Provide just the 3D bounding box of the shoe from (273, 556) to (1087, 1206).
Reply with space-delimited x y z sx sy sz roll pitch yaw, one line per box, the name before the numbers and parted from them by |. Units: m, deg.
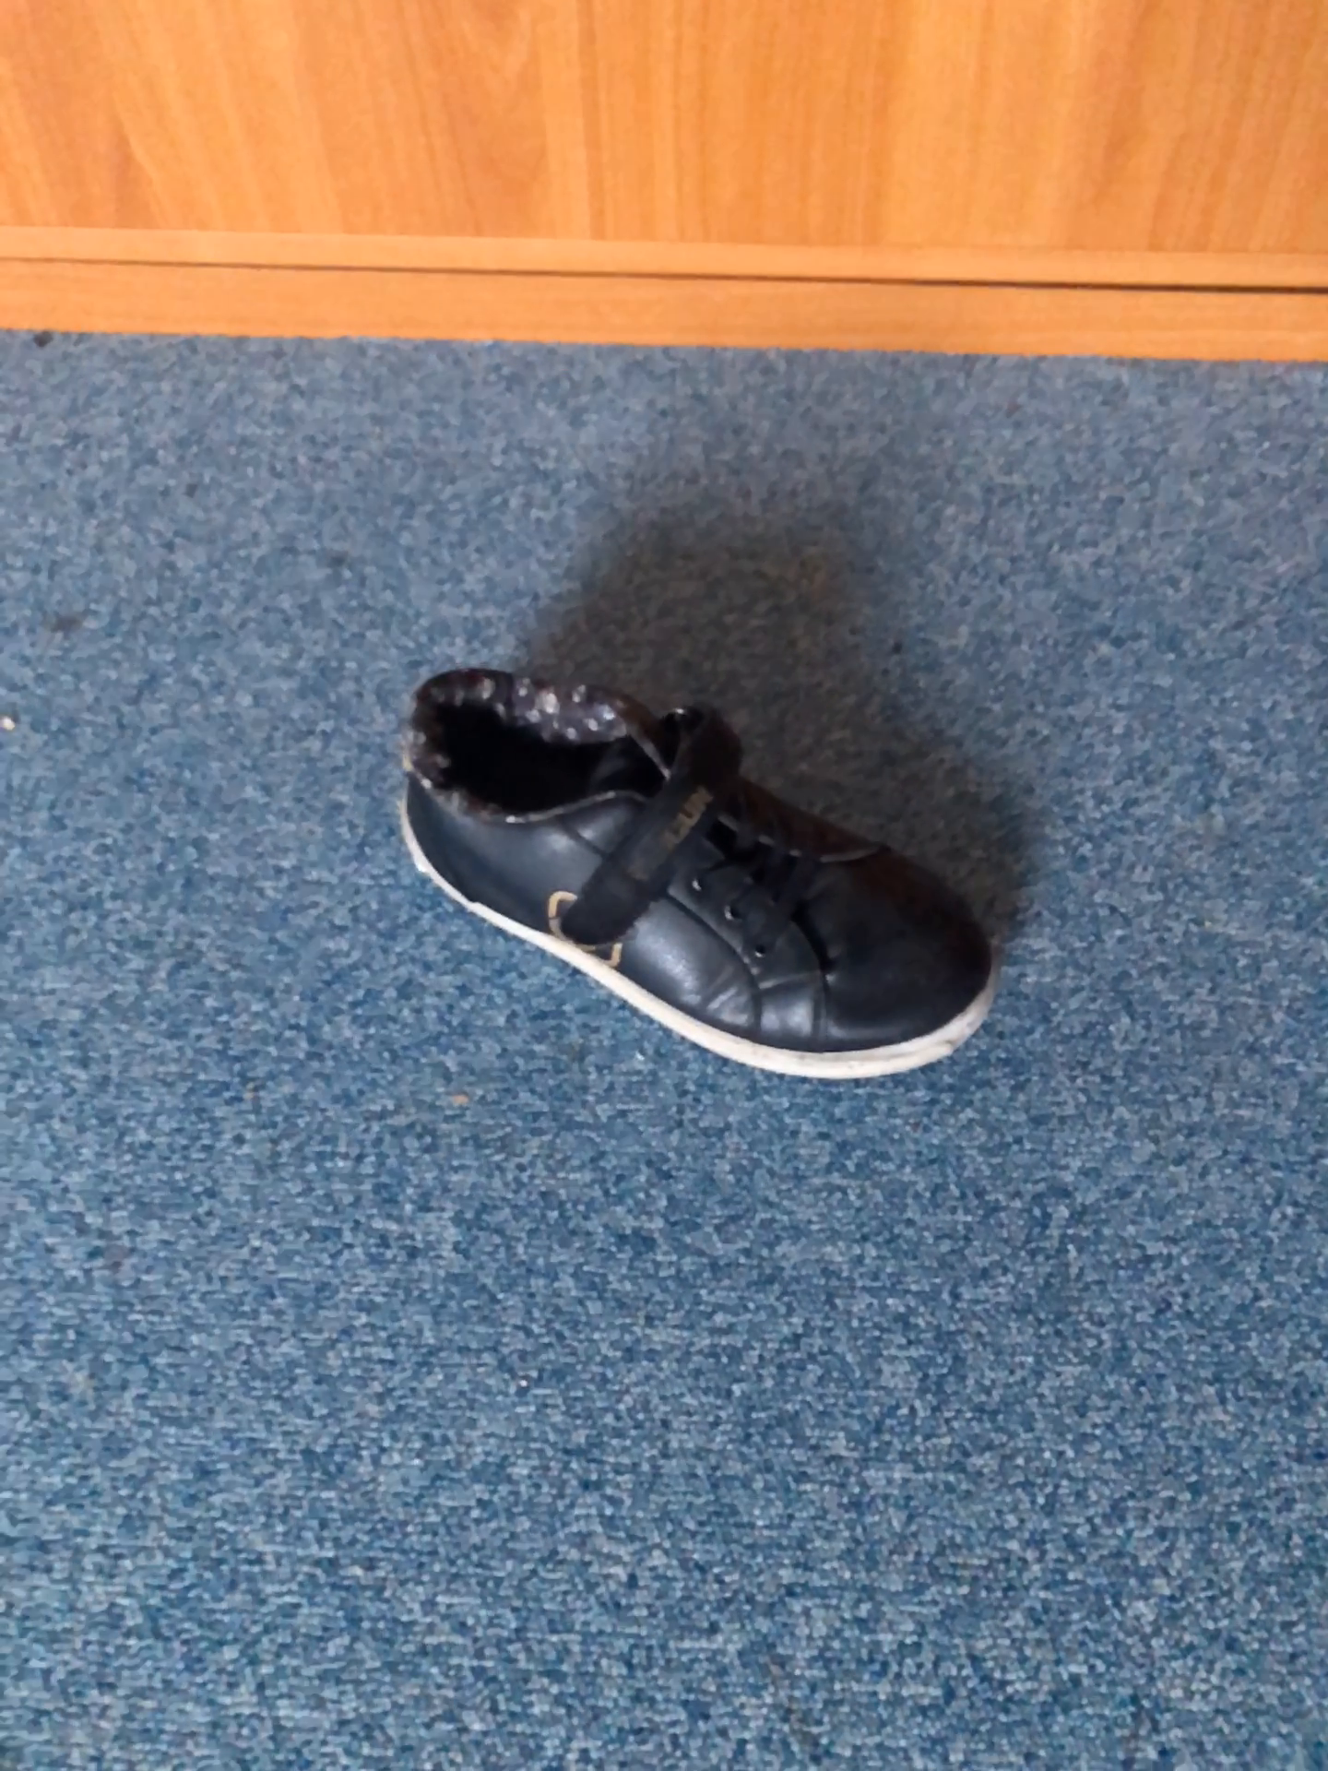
shoe | 0.005 -0.005 0.496 0.230 0.090 0.110 24 61 15
